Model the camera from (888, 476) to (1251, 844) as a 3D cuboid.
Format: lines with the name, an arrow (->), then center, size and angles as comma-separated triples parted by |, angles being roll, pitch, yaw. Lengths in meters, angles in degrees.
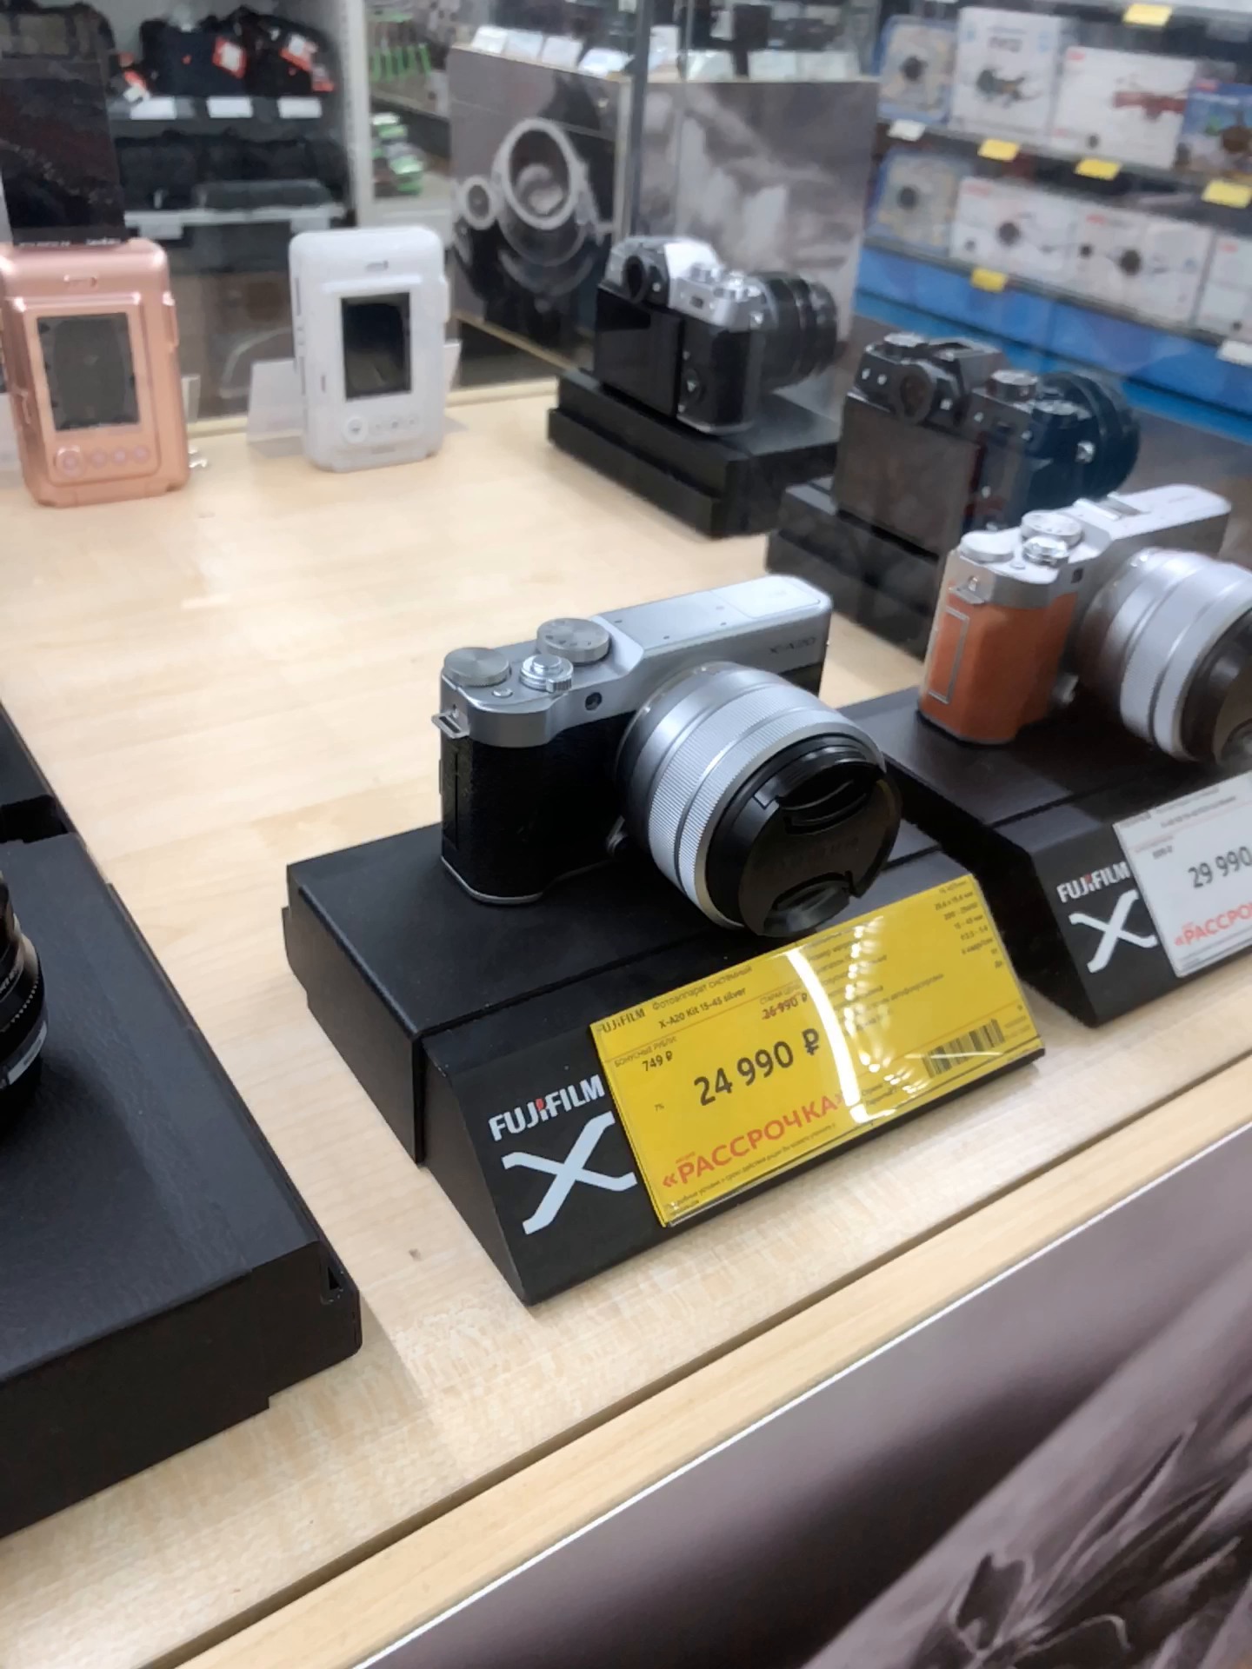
camera -> 0.172, -0.065, 0.474 | 0.128, 0.072, 0.088 | -17, 38, -29

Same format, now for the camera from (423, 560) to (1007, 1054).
camera -> 0.020, -0.015, 0.373 | 0.120, 0.072, 0.088 | -17, 38, -29
